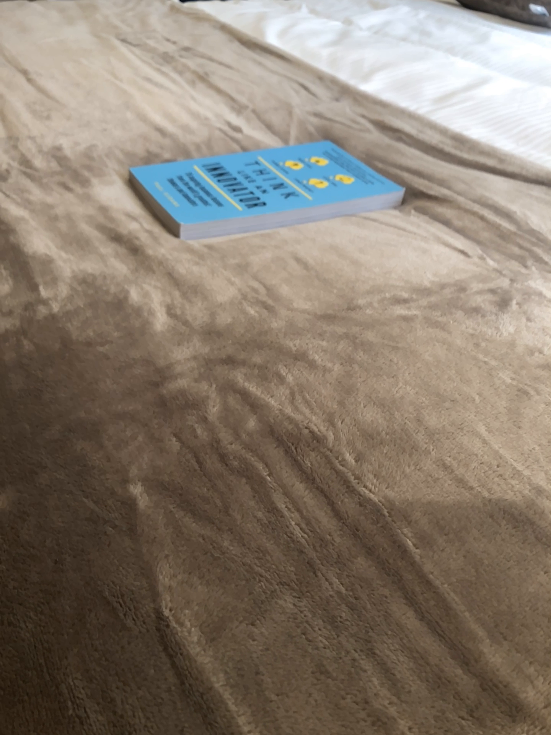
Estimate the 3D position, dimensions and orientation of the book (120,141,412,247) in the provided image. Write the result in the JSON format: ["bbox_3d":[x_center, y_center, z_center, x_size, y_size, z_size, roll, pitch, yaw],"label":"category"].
[{"bbox_3d":[-0.010,-0.163,0.549,0.221,0.020,0.140,-15,40,-24],"label":"book"}]
